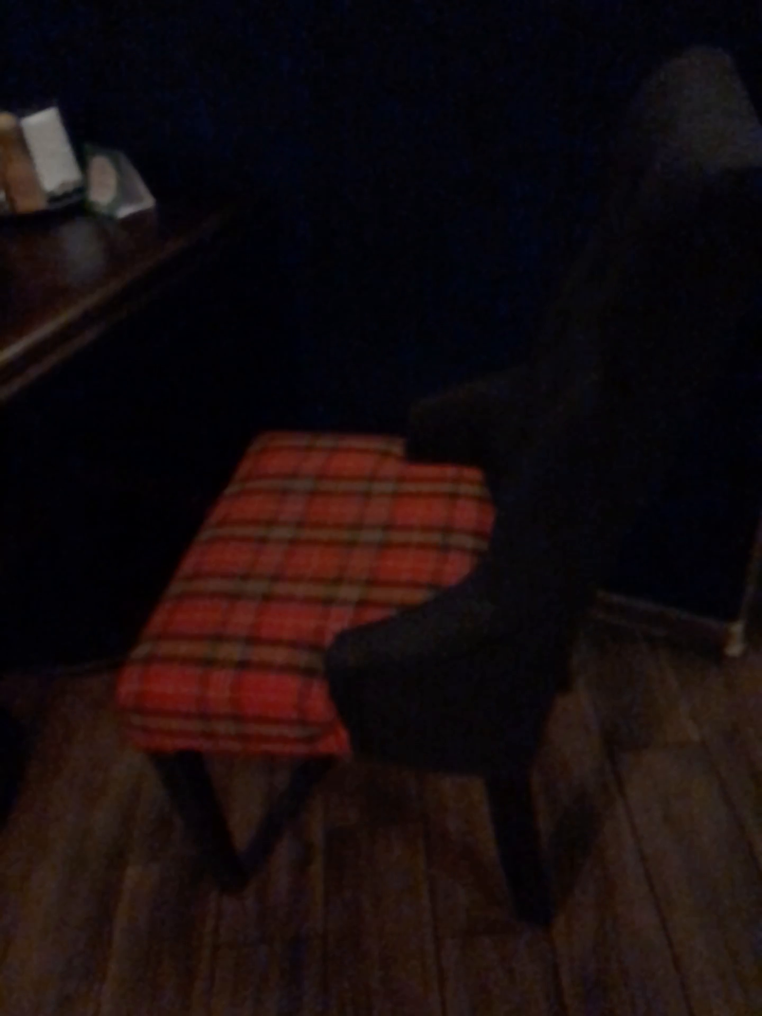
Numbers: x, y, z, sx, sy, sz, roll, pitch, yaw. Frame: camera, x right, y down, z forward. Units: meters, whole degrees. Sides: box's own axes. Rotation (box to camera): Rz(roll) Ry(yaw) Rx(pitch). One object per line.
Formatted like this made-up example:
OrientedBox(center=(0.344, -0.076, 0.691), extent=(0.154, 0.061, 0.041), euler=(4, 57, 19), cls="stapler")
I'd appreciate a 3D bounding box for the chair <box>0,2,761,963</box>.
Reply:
OrientedBox(center=(0.050, 0.013, 1.060), extent=(0.610, 1.003, 0.524), euler=(3, 38, 13), cls="chair")
